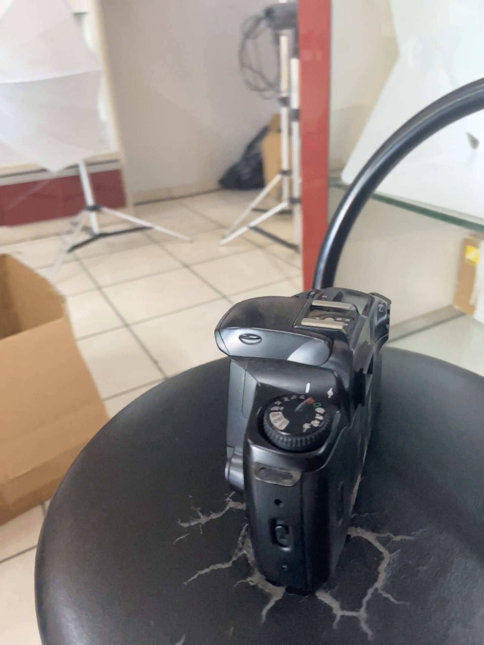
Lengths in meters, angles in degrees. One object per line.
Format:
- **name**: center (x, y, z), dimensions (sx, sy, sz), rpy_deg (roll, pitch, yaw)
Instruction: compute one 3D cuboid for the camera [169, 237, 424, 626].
- **camera**: center (0.037, 0.030, 0.224), dimensions (0.070, 0.089, 0.141), rpy_deg (6, 30, 19)
